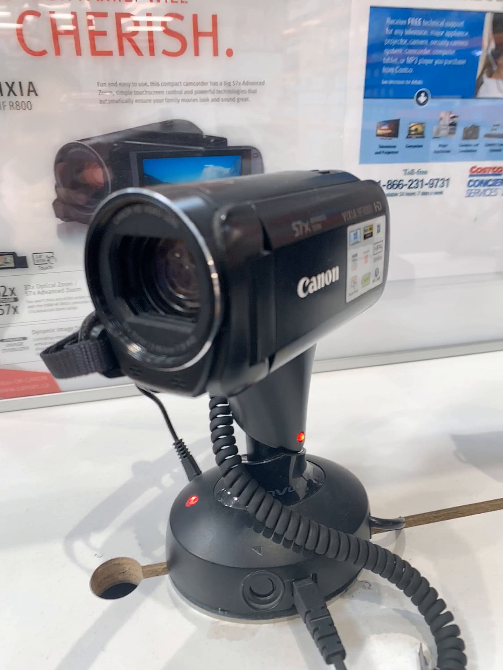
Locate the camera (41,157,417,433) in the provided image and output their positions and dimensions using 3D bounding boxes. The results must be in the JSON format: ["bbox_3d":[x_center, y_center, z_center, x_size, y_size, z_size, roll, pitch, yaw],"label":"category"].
[{"bbox_3d":[0.005,-0.027,0.171,0.050,0.050,0.126,15,28,32],"label":"camera"}]
